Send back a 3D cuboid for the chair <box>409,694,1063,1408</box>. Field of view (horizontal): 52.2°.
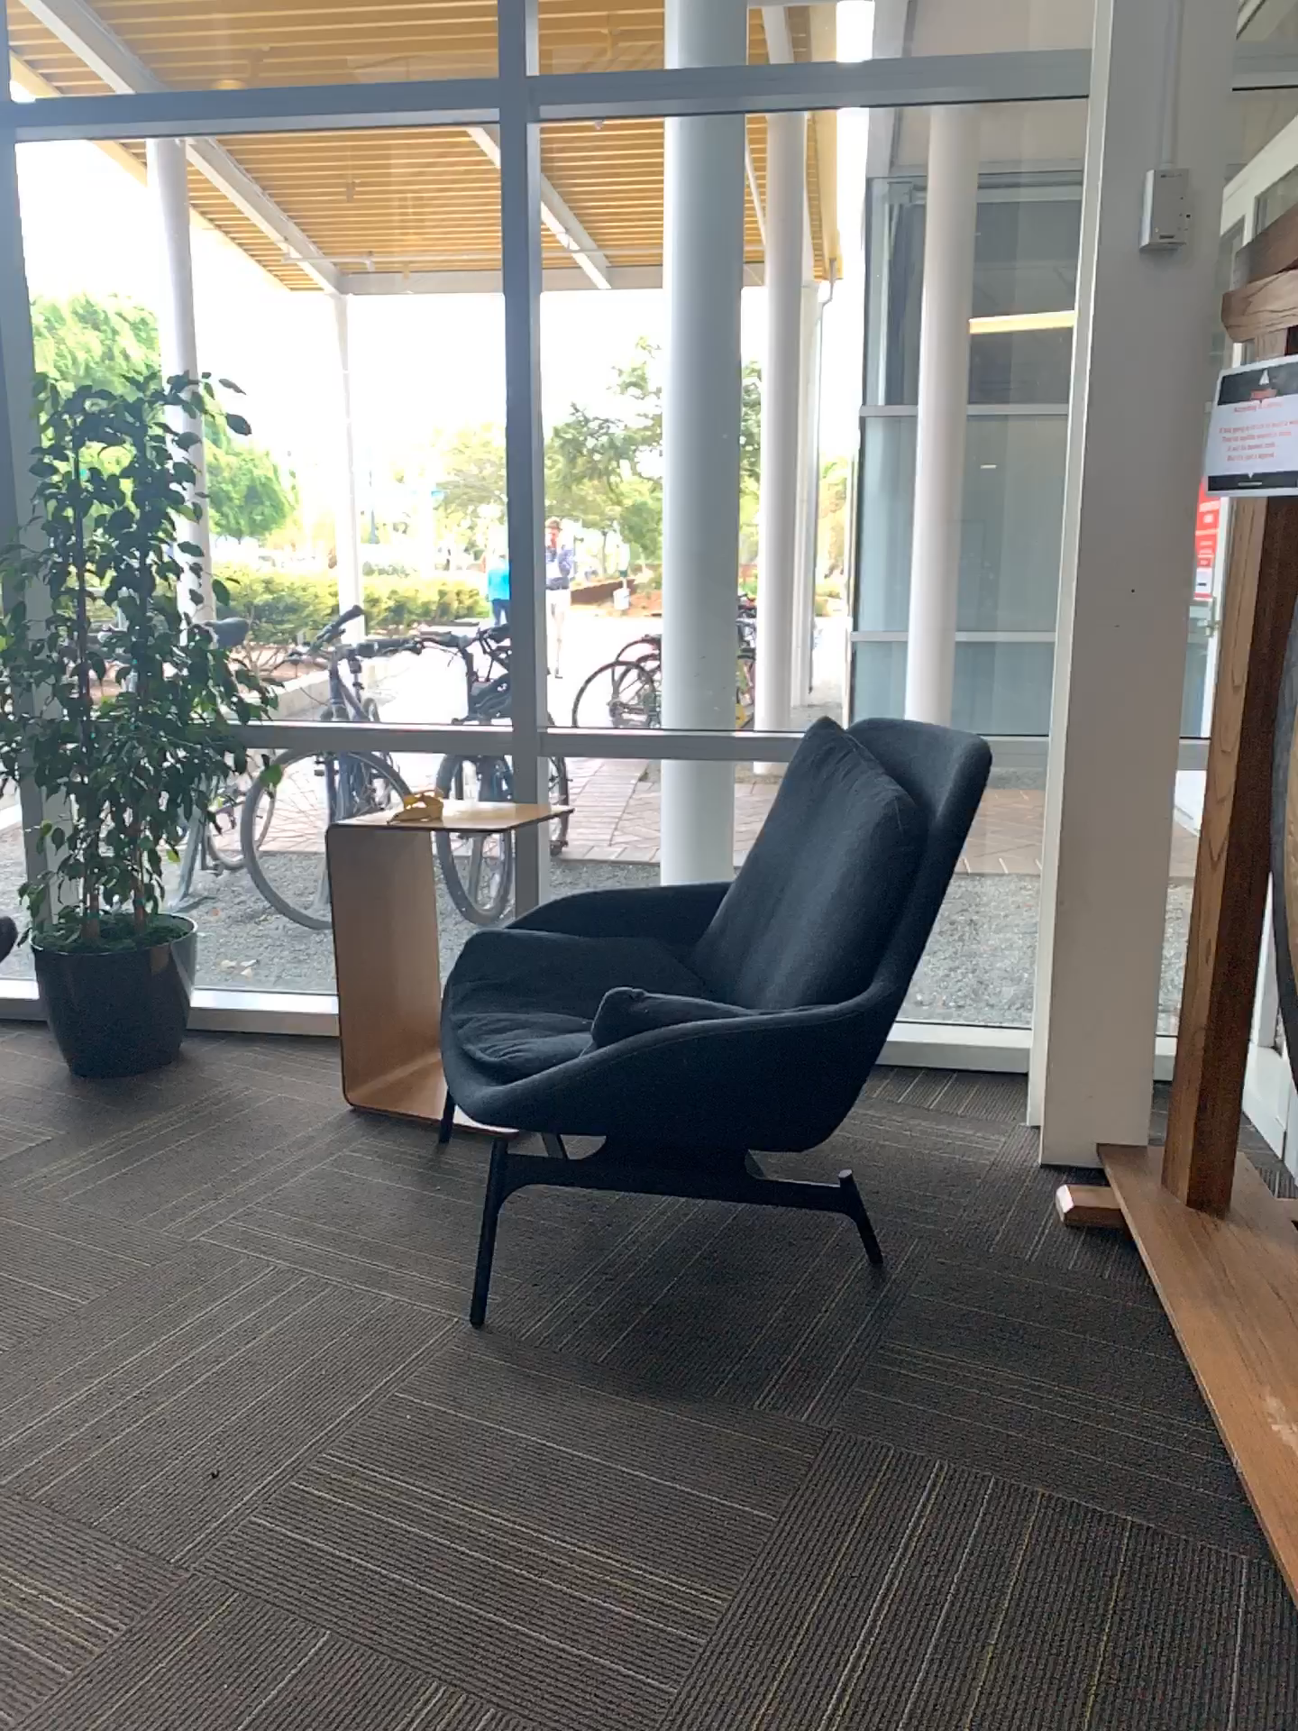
[{"bbox_3d":[0.074,0.226,2.466,0.940,0.997,0.903,-3,12,-13],"label":"chair"}]
